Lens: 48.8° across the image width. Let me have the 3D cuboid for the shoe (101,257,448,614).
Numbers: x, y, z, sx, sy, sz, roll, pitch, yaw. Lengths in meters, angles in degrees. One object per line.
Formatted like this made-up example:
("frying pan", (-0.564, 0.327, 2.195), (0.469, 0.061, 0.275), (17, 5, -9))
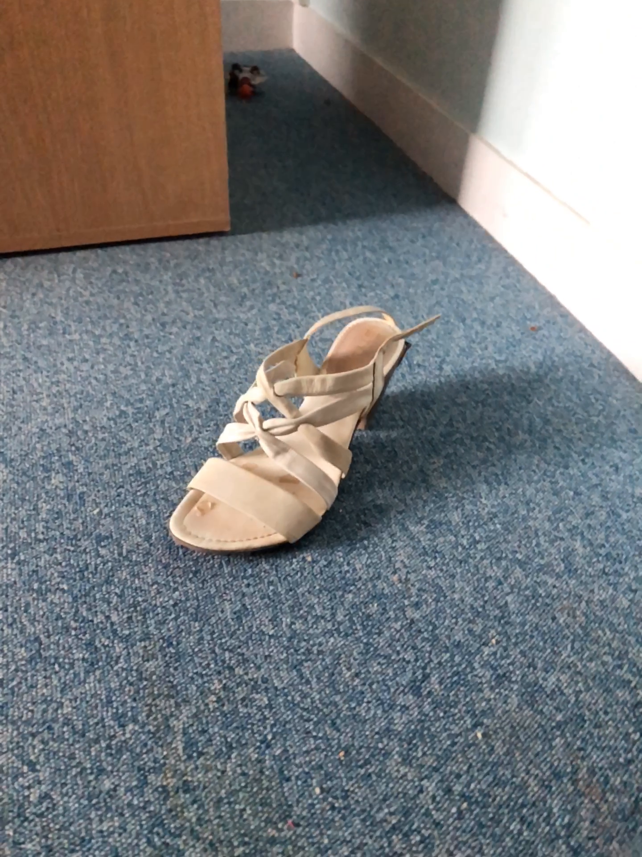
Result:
("shoe", (-0.019, -0.010, 0.496), (0.100, 0.109, 0.241), (26, 46, 23))
